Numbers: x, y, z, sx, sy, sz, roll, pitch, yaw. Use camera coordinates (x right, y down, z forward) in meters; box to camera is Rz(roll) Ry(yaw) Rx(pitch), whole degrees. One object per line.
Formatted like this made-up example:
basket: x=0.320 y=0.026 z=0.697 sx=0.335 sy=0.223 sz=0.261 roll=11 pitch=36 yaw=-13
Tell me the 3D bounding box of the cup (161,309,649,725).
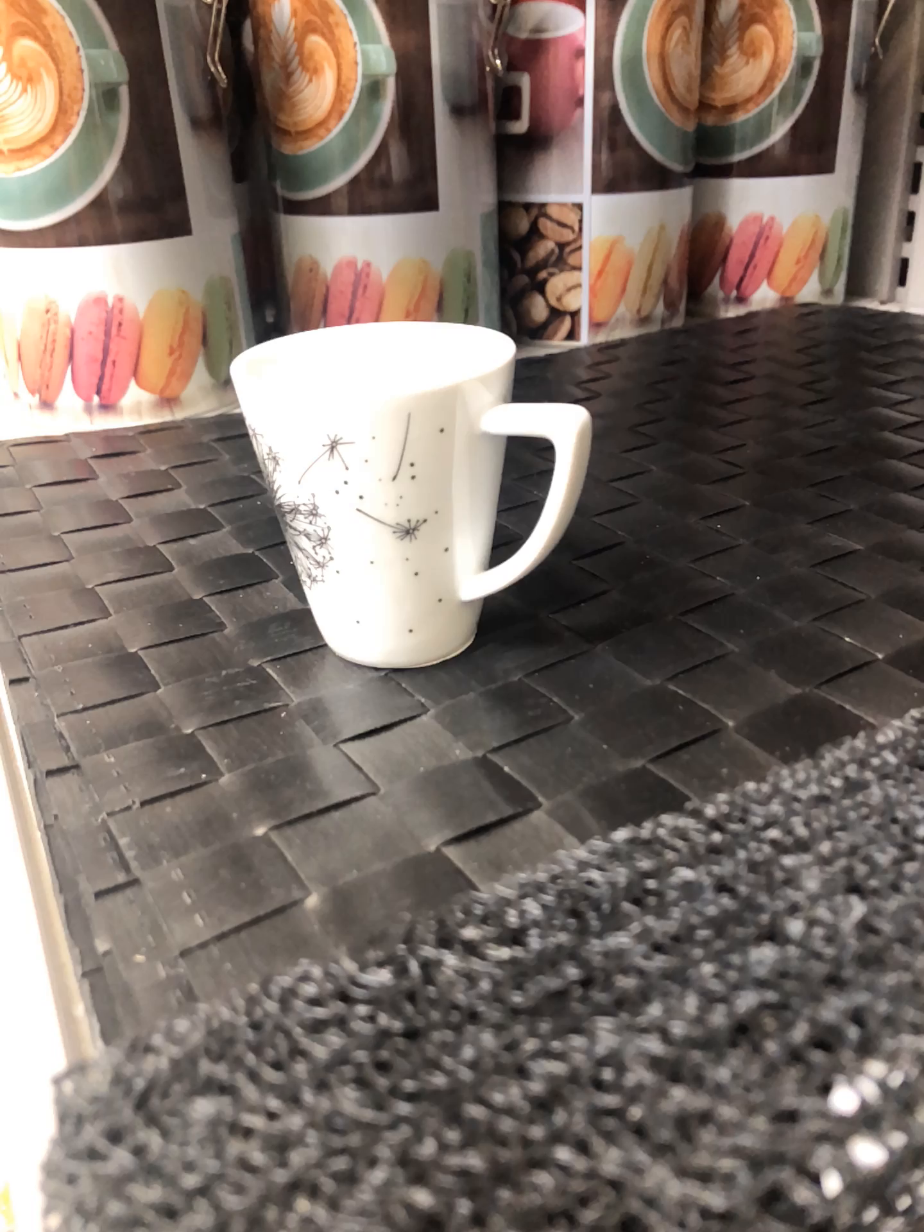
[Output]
cup: x=-0.009 y=-0.026 z=0.223 sx=0.081 sy=0.060 sz=0.057 roll=13 pitch=37 yaw=30
